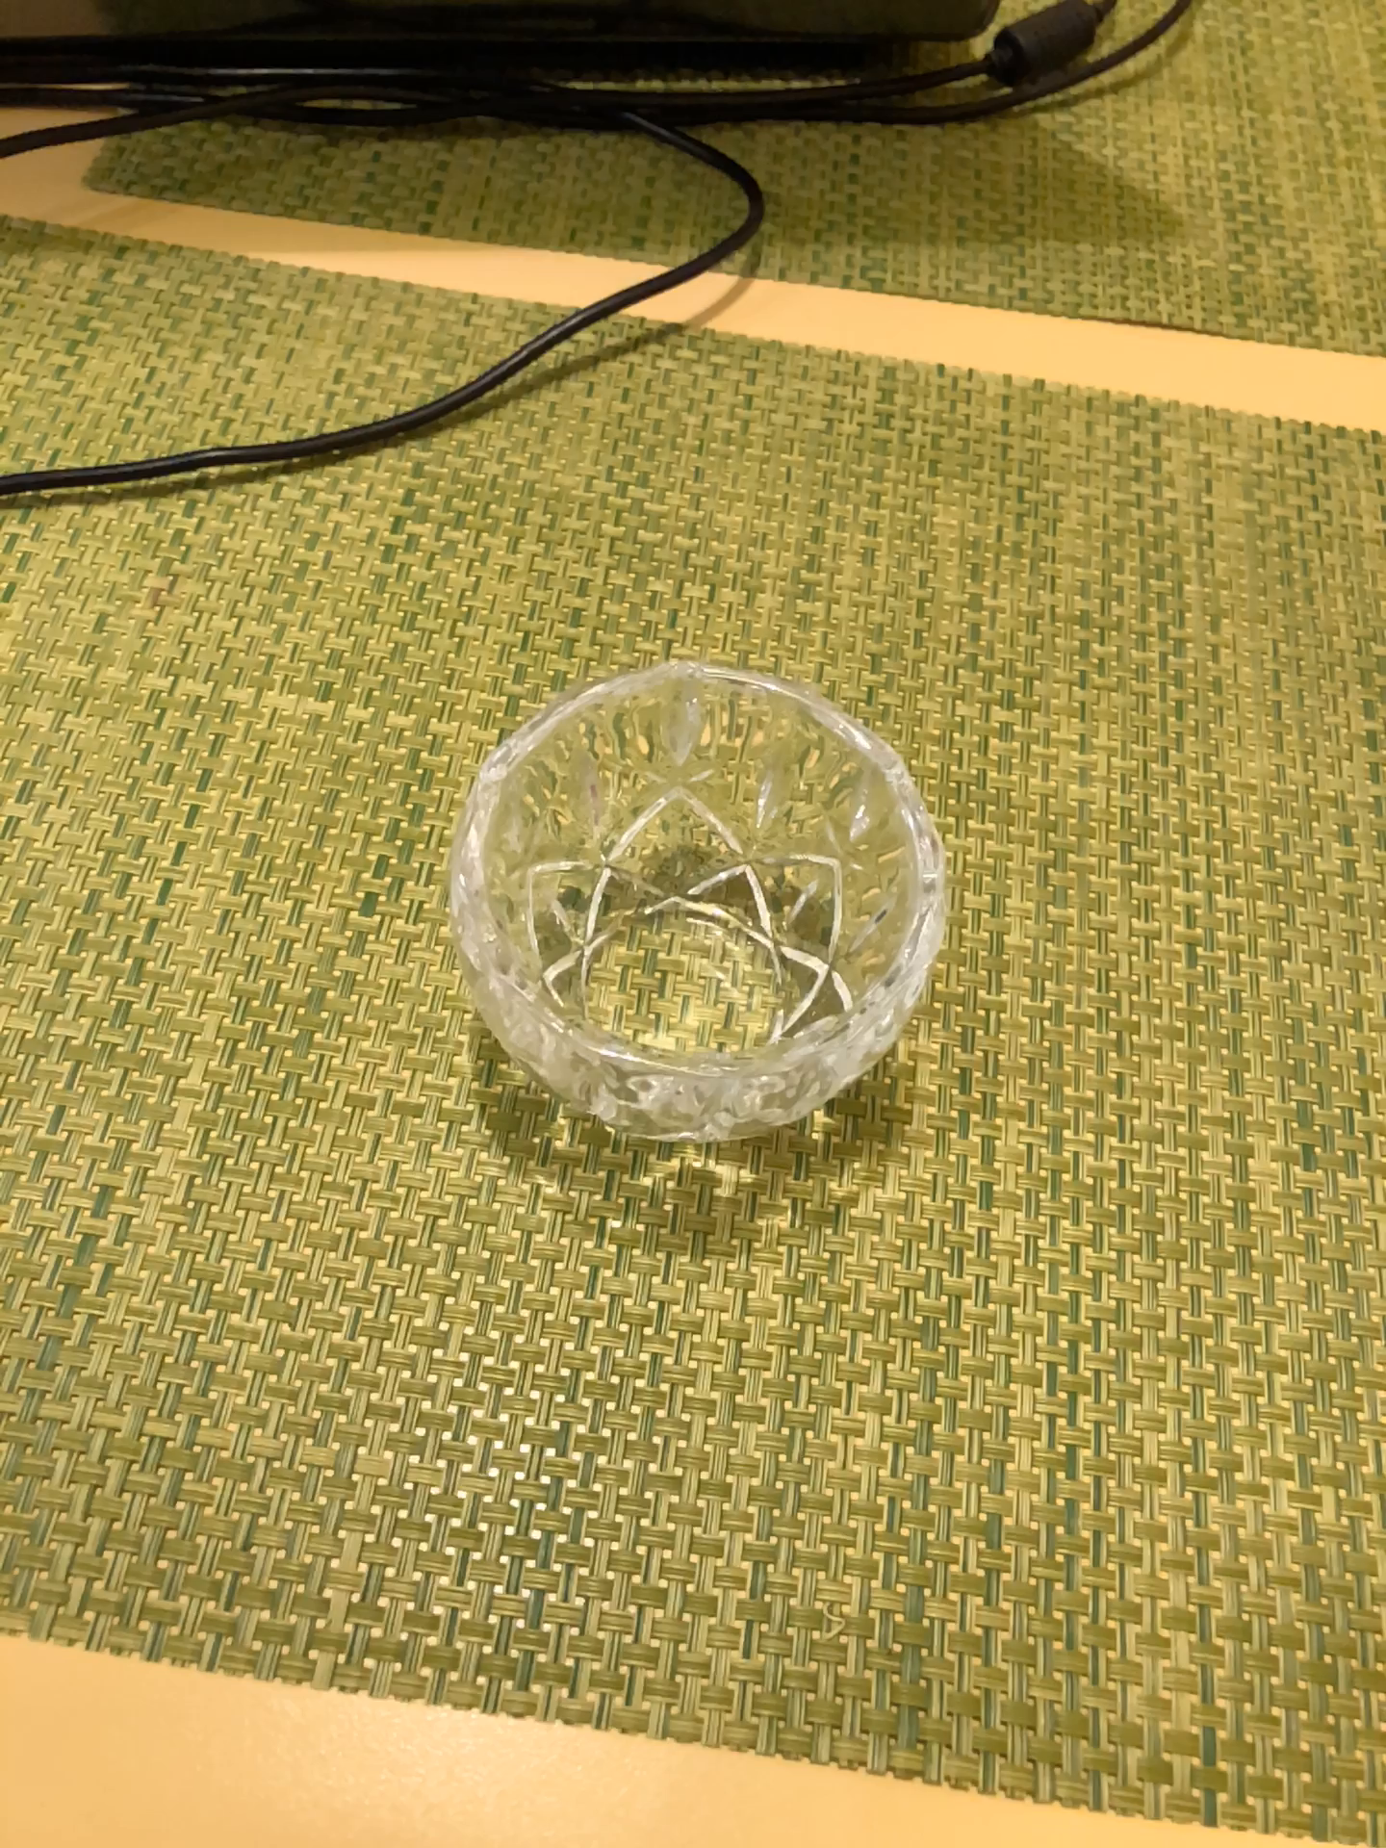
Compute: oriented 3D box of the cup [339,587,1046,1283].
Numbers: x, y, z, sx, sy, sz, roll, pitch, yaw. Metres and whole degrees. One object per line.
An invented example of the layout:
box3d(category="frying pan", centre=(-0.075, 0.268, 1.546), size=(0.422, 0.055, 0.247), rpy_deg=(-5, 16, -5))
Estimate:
box3d(category="cup", centre=(0.001, 0.001, 0.239), size=(0.080, 0.045, 0.072), rpy_deg=(22, 62, 8))
